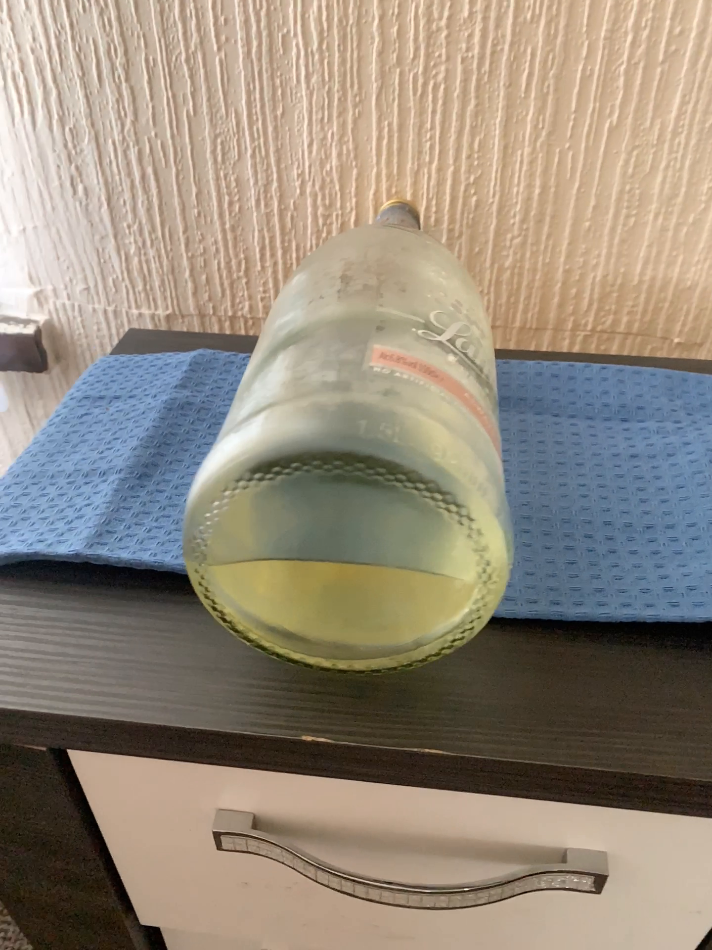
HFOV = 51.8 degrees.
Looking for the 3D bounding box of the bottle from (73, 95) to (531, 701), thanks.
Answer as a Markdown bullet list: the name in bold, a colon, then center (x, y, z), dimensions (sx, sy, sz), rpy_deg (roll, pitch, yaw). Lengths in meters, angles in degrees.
- **bottle**: center (0.001, -0.070, 0.360), dimensions (0.110, 0.119, 0.323), rpy_deg (-13, 36, 15)
